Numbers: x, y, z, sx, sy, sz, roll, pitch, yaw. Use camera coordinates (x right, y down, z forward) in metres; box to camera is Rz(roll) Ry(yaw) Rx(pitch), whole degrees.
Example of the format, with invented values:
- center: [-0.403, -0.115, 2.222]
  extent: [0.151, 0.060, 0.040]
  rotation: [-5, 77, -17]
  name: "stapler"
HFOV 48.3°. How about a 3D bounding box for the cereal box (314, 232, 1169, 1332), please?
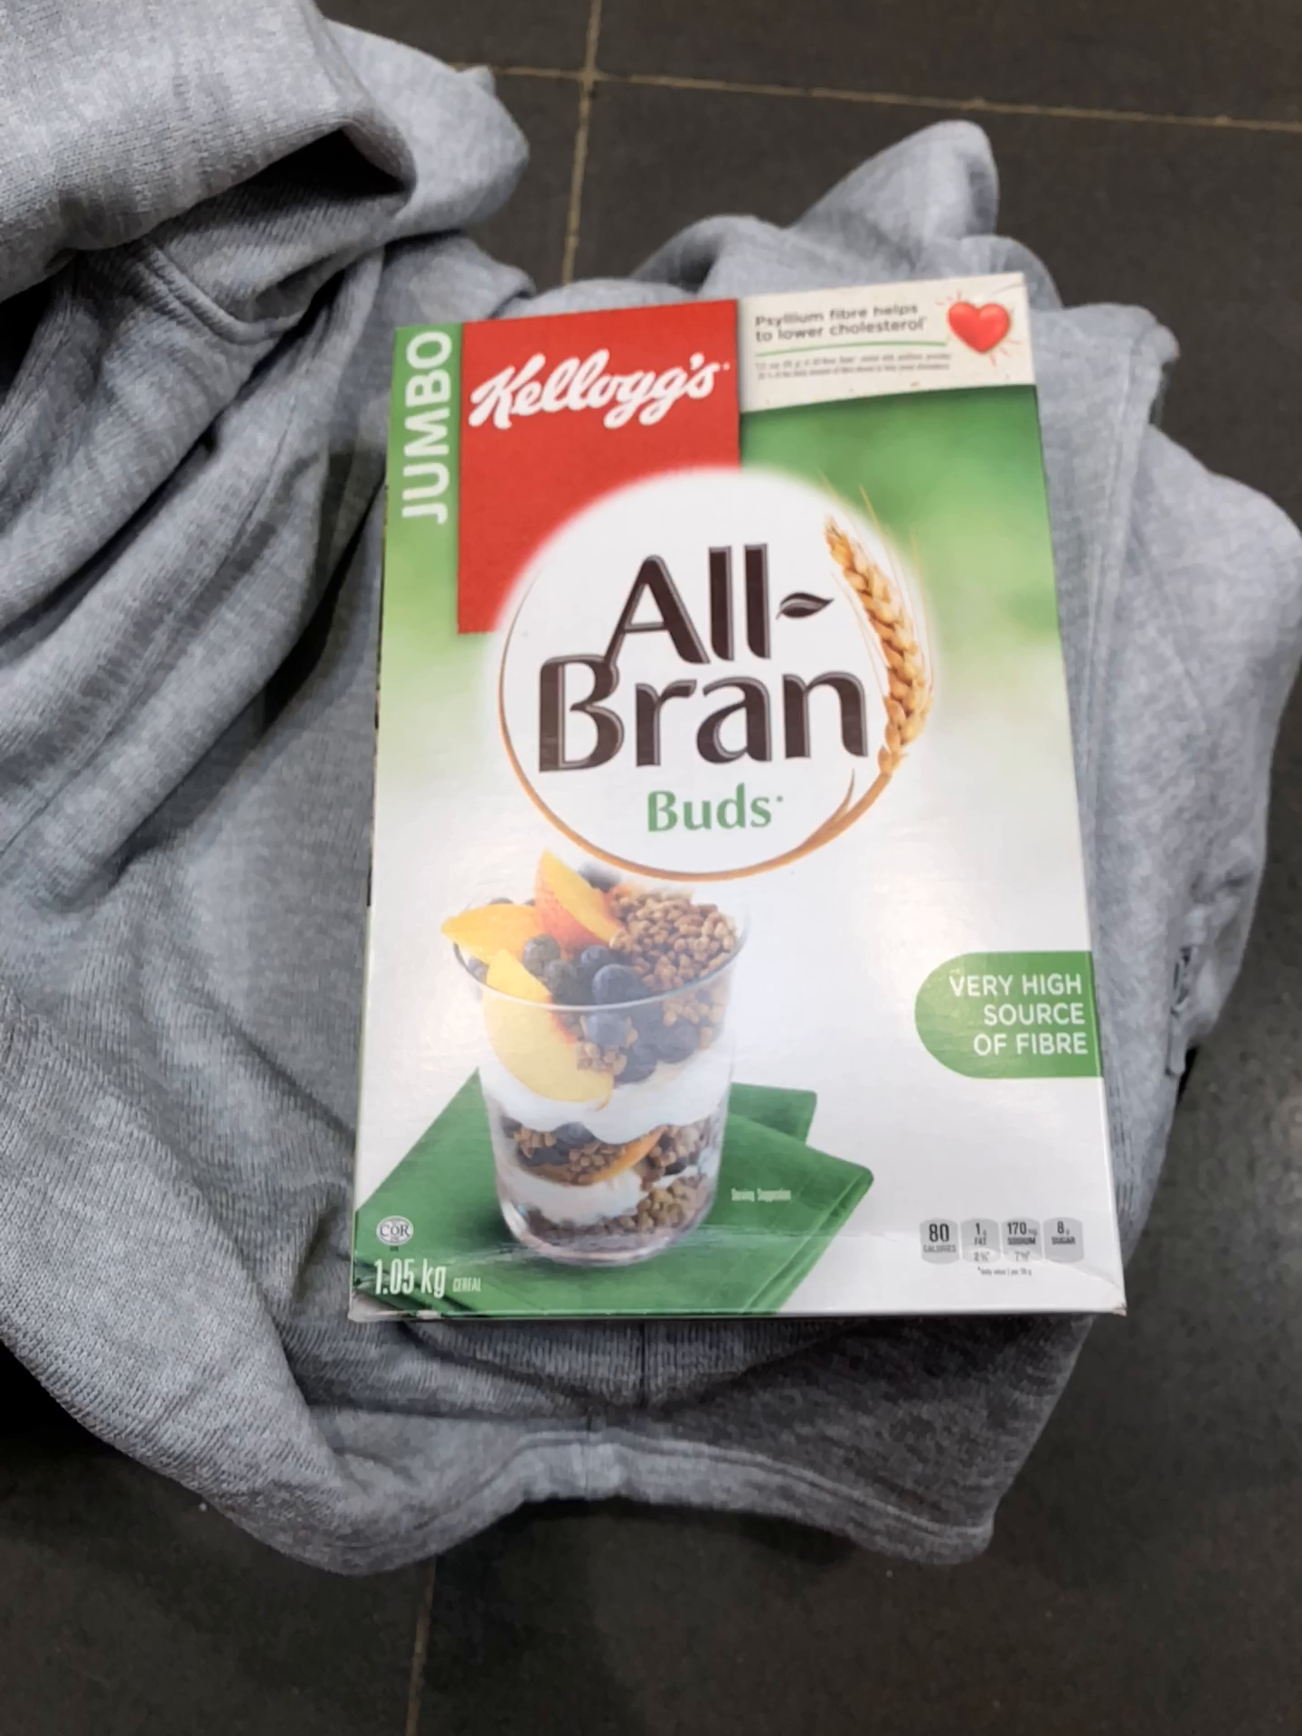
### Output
- center: [0.023, -0.024, 0.418]
  extent: [0.200, 0.070, 0.300]
  rotation: [-2, 72, 8]
  name: "cereal box"
